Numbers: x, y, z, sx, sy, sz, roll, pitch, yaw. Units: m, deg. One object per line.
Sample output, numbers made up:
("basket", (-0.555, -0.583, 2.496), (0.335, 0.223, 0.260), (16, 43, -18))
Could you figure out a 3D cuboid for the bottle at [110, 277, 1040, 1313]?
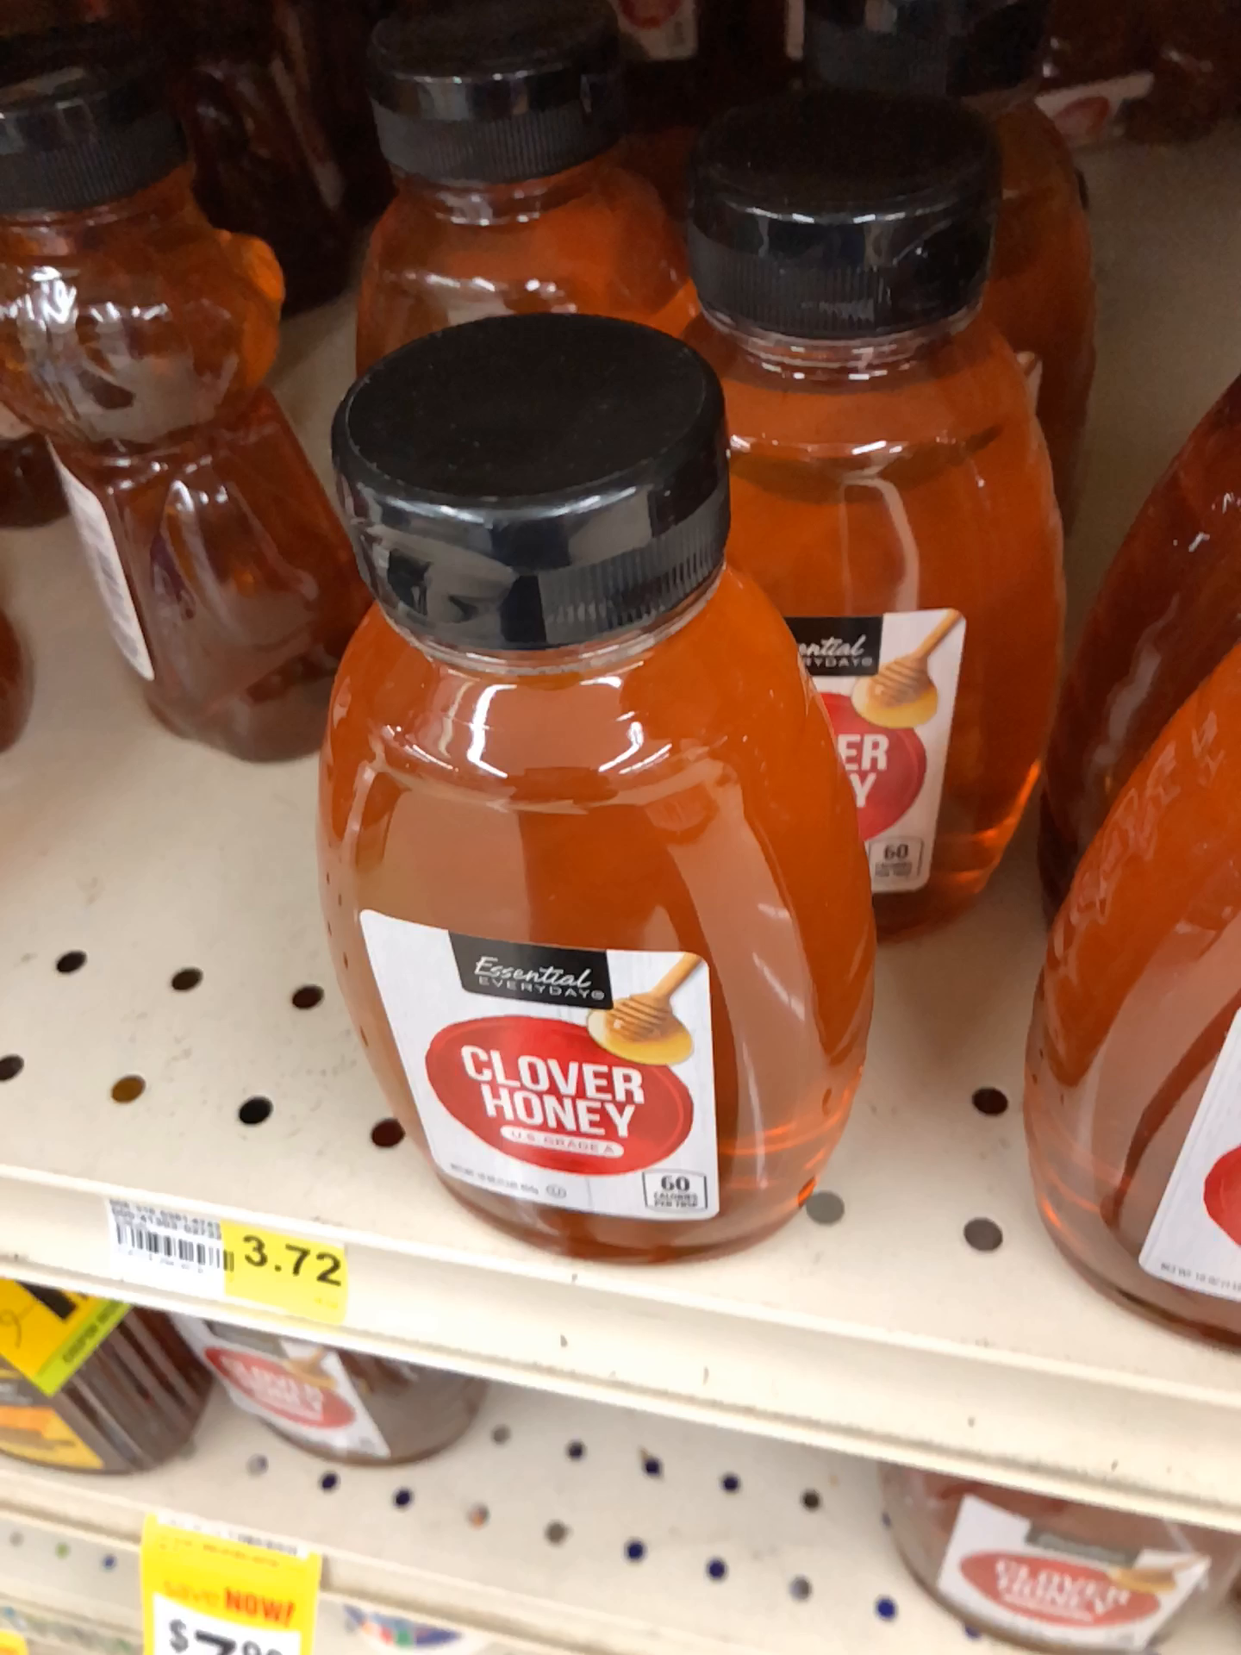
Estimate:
("bottle", (0.004, 0.003, 0.190), (0.083, 0.130, 0.060), (6, 49, 12))
